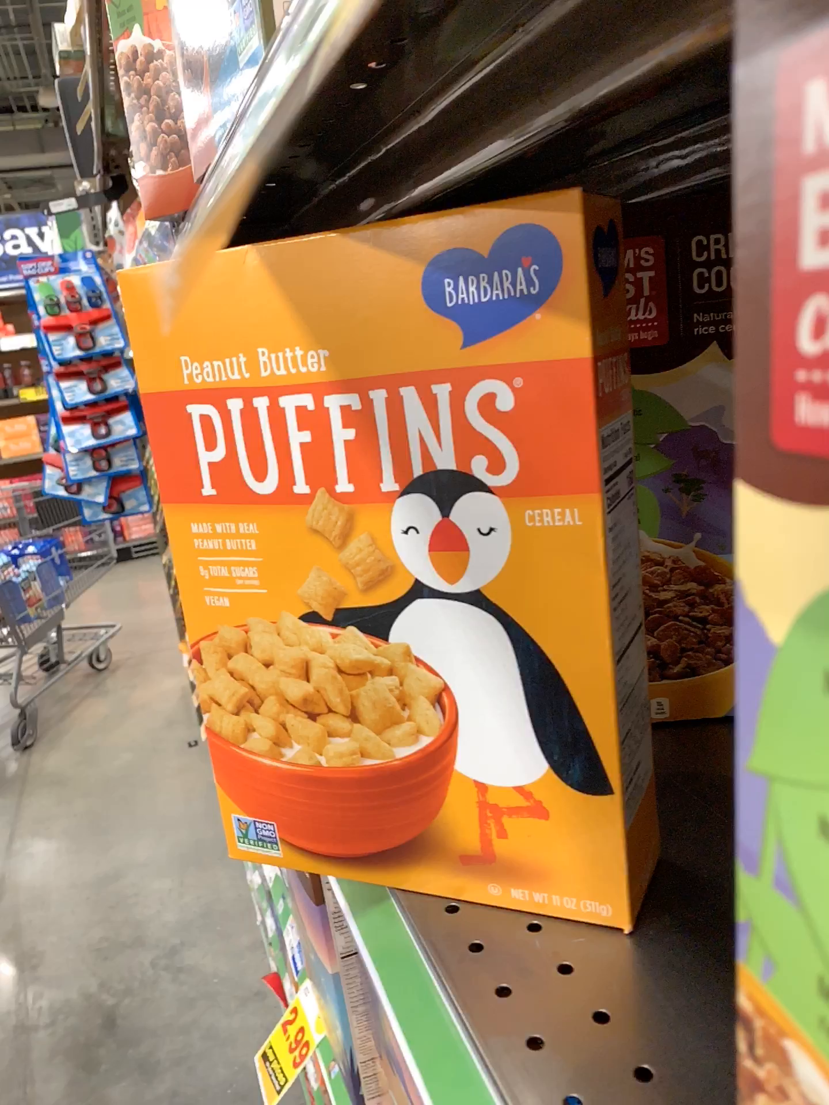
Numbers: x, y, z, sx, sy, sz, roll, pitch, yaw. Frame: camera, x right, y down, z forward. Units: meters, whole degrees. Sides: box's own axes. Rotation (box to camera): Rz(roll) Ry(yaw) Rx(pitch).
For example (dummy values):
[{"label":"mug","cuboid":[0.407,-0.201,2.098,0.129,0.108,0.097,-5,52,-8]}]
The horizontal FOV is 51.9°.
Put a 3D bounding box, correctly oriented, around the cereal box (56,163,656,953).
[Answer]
[{"label":"cereal box","cuboid":[-0.019,0.008,0.361,0.220,0.279,0.060,1,15,24]}]
